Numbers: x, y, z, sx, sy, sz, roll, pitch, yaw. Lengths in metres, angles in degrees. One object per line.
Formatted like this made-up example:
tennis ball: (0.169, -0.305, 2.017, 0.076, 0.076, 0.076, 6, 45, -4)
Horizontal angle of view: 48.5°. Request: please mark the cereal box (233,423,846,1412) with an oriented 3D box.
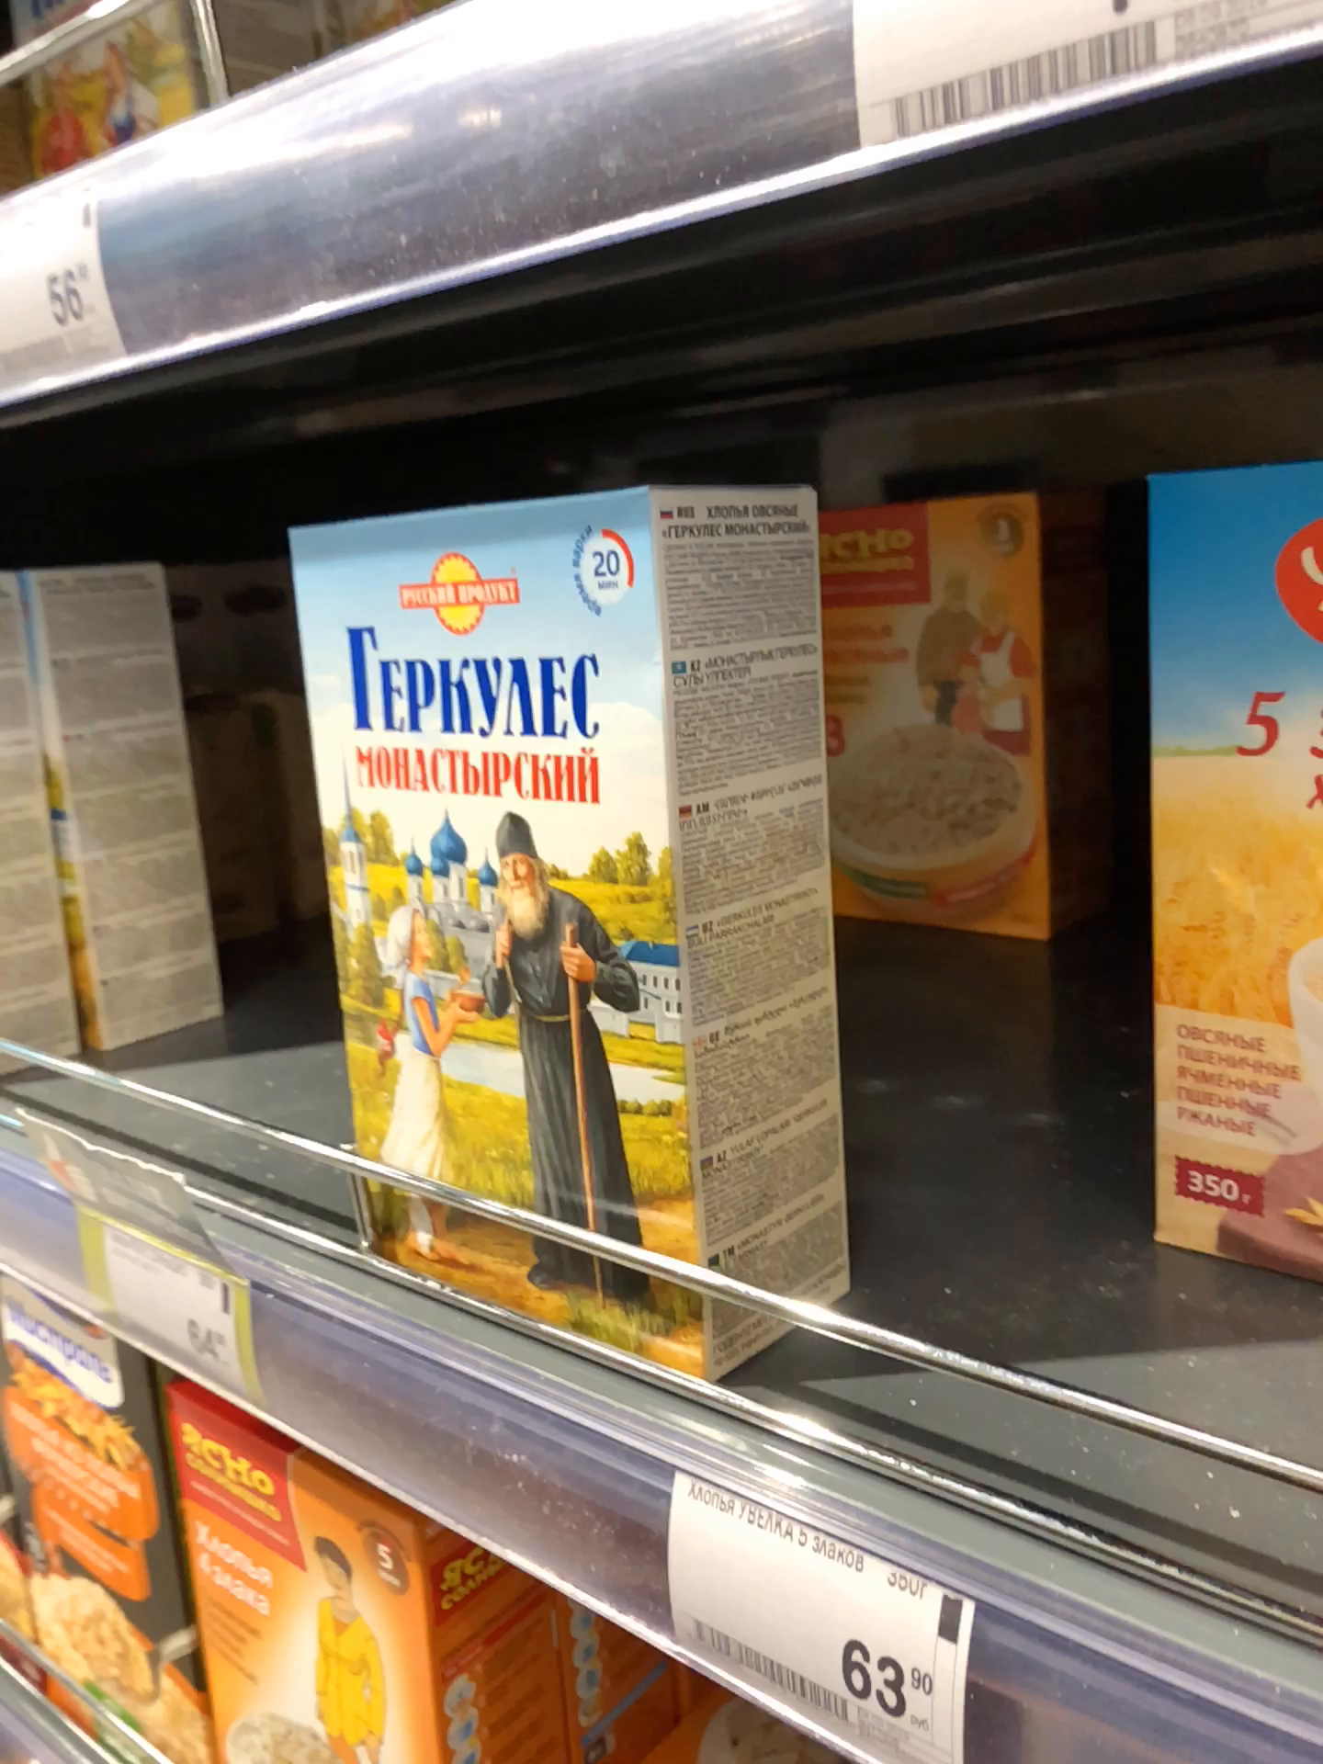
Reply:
cereal box: (-0.029, 0.002, 0.353, 0.130, 0.199, 0.060, 6, 14, 39)
